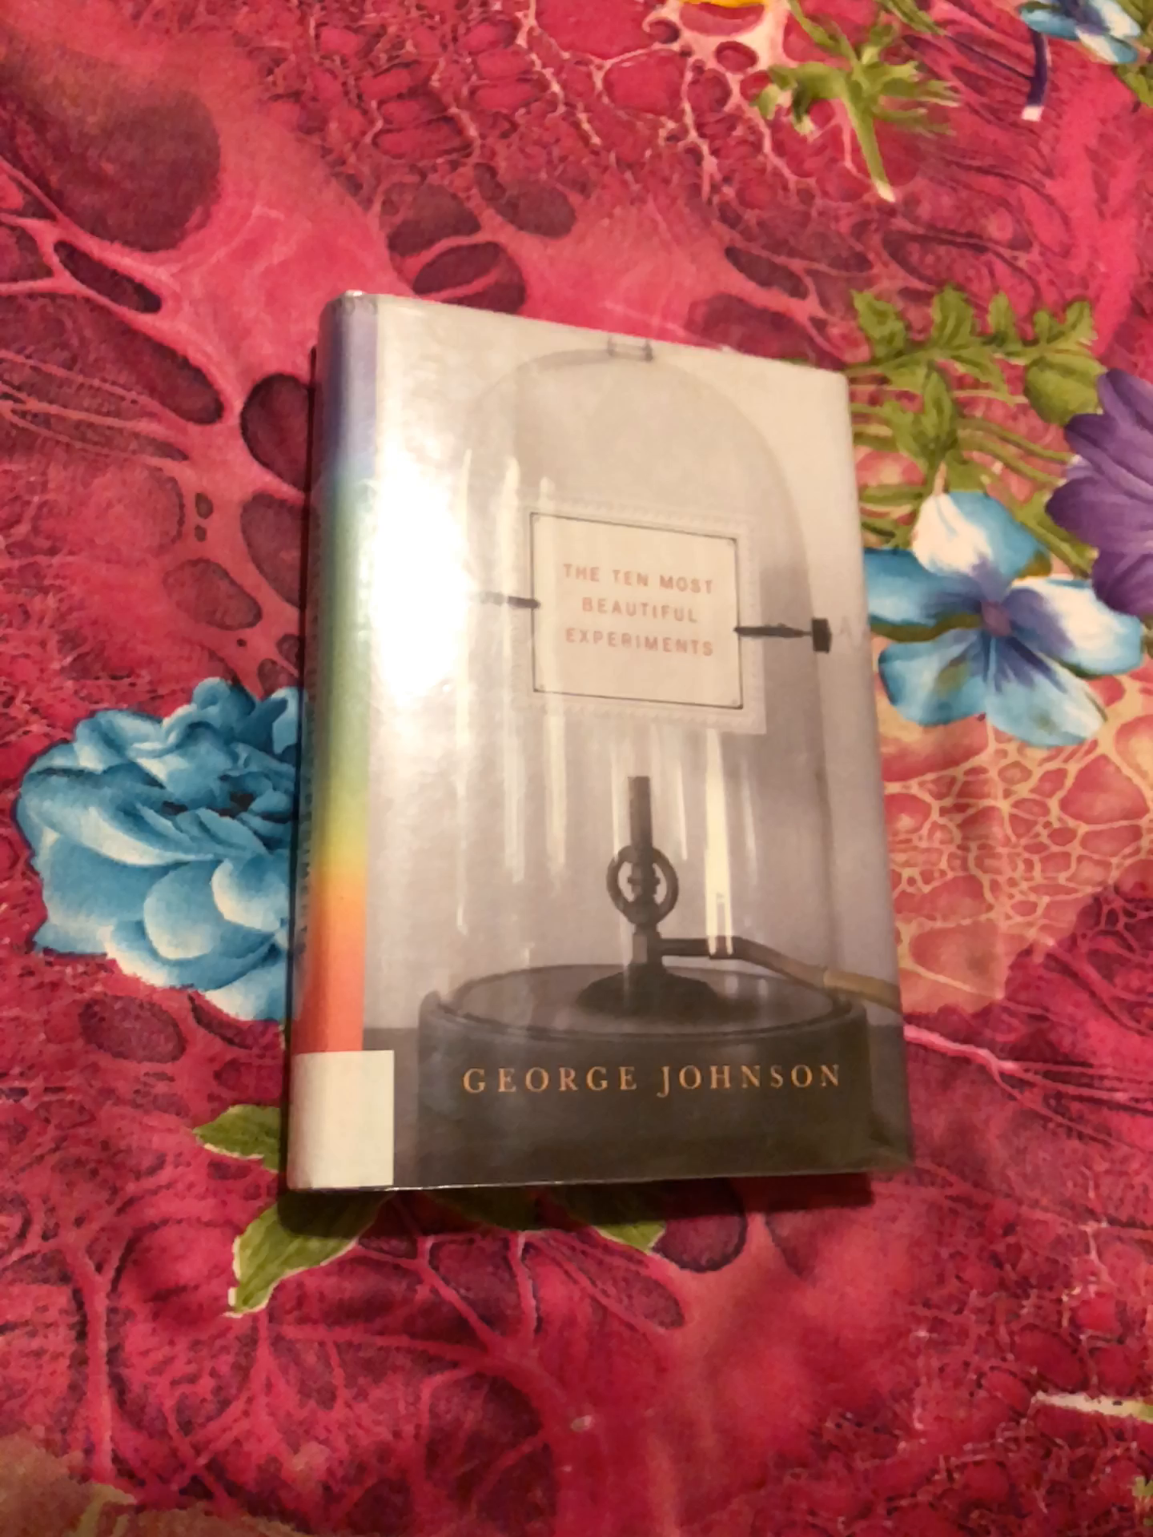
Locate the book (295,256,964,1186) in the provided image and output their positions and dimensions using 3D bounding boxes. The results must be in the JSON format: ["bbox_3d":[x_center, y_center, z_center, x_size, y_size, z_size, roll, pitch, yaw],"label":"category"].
[{"bbox_3d":[0.009,-0.012,0.300,0.140,0.030,0.200,3,74,-18],"label":"book"}]
